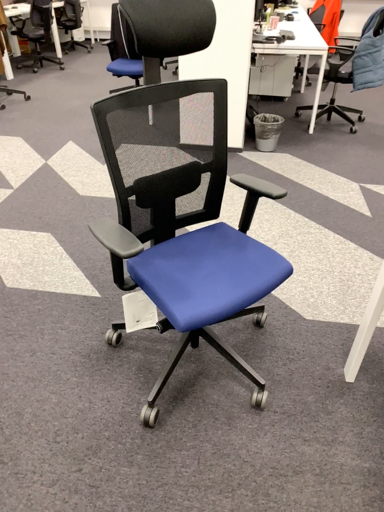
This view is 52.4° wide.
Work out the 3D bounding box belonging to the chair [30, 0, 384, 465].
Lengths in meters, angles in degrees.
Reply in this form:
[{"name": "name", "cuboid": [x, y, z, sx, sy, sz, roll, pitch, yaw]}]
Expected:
[{"name": "chair", "cuboid": [0.056, -0.095, 1.292, 0.731, 1.243, 0.673, -18, 40, -23]}]
